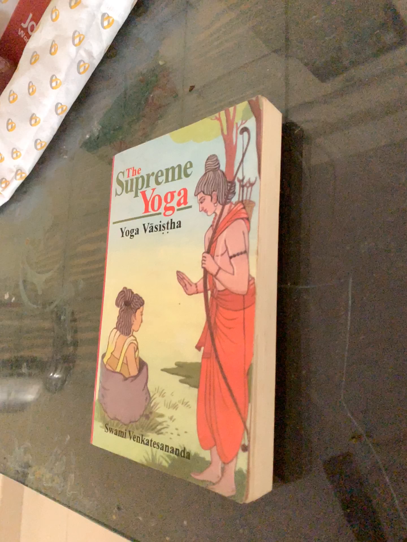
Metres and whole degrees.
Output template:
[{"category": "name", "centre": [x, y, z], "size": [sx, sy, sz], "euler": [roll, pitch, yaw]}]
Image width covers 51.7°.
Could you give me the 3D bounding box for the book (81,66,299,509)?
[{"category": "book", "centre": [-0.013, 0.006, 0.256], "size": [0.141, 0.030, 0.210], "euler": [-6, 77, 42]}]
